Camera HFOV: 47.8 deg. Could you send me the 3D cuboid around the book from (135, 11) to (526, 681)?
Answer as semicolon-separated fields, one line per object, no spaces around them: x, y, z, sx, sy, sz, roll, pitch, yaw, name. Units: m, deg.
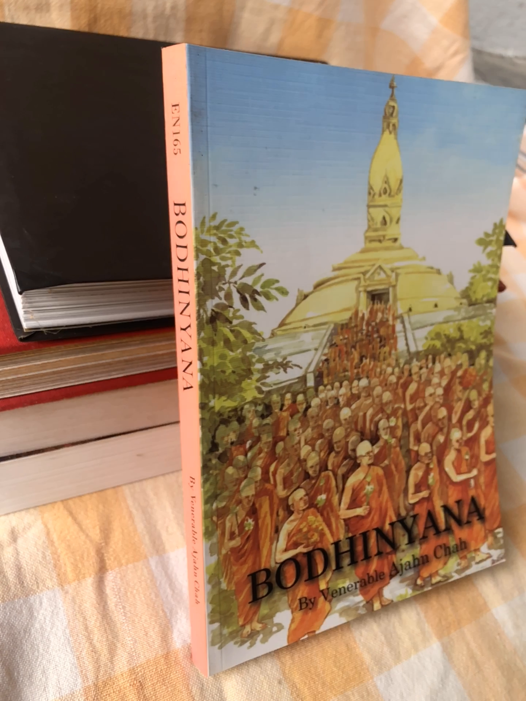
0.035;-0.001;0.222;0.151;0.200;0.030;-7;12;-27;book
